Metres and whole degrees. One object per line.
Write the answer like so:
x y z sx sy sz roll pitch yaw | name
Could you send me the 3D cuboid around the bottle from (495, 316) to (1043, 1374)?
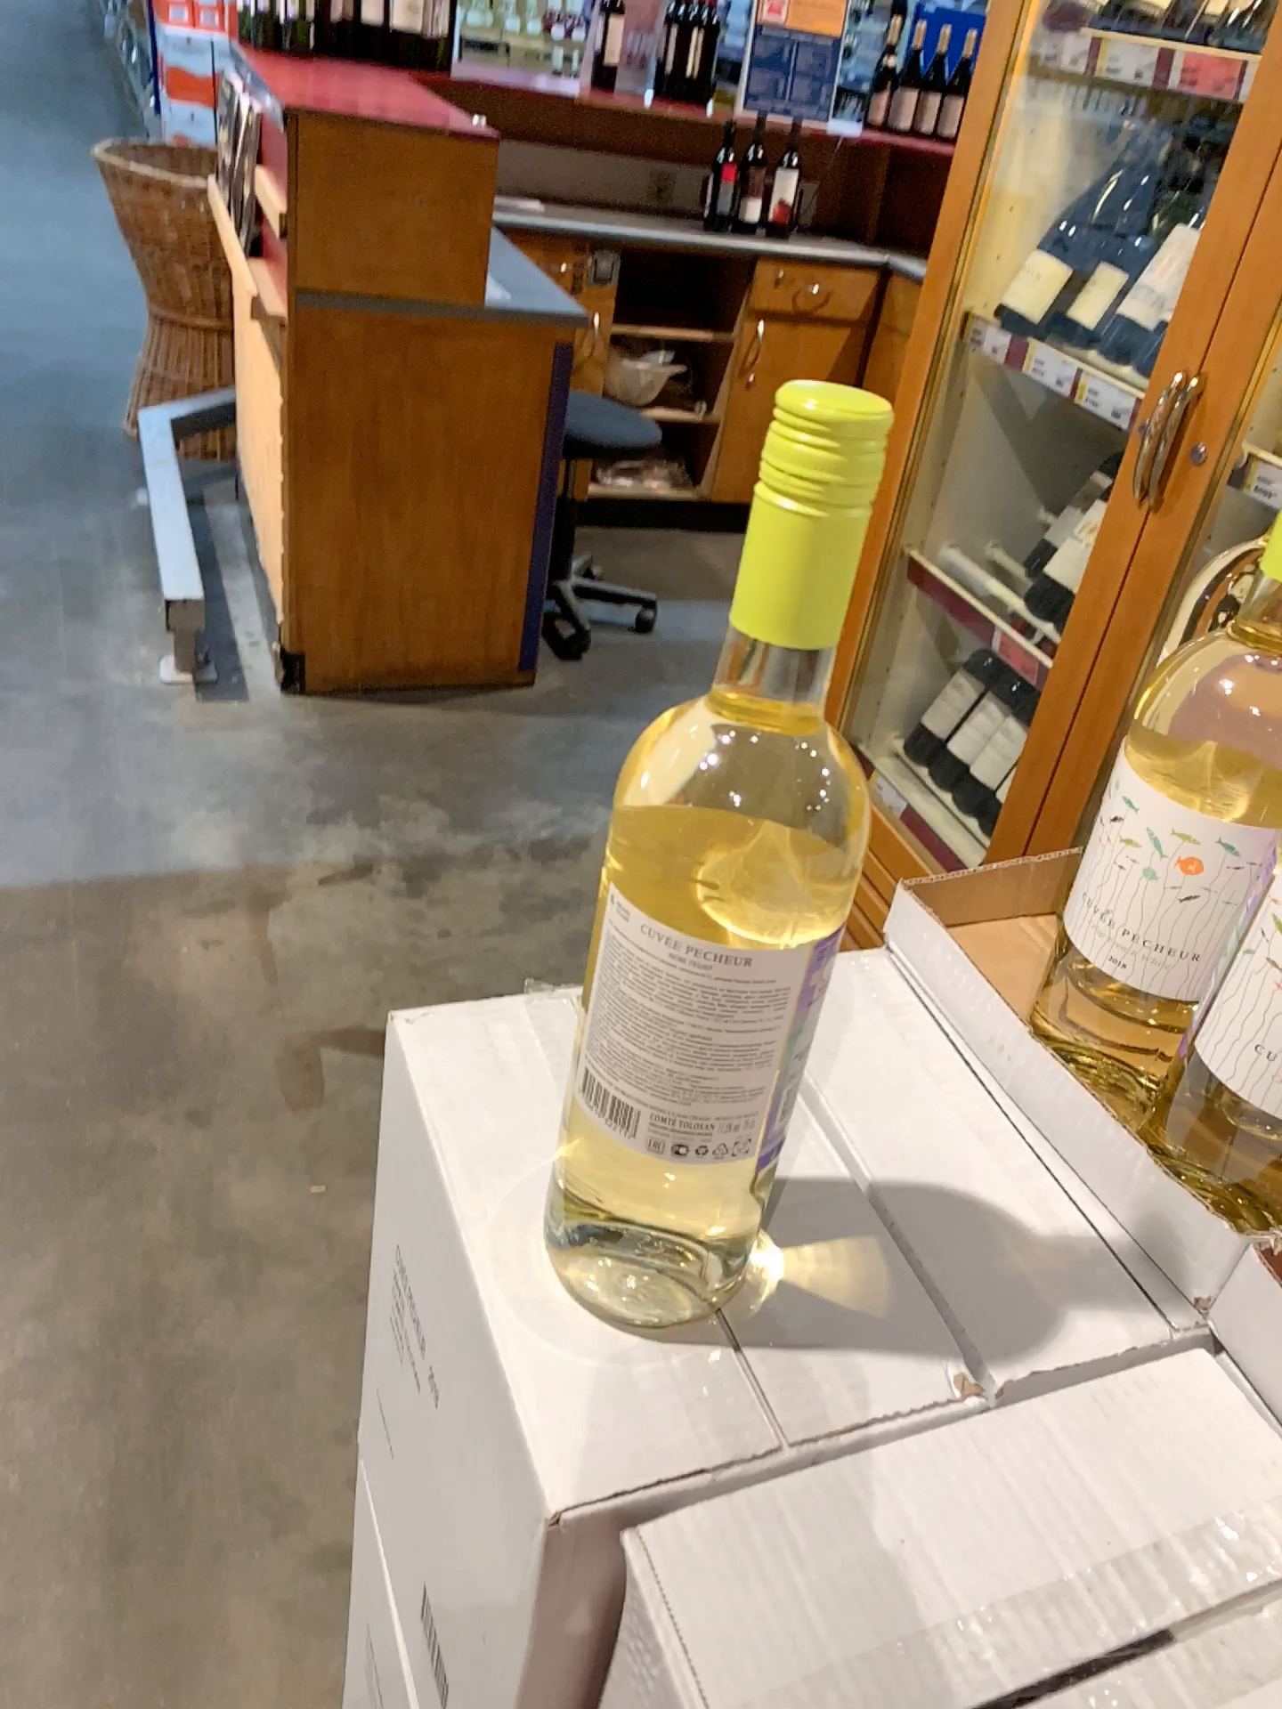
0.023 0.013 0.390 0.090 0.298 0.091 7 32 -4 | bottle
